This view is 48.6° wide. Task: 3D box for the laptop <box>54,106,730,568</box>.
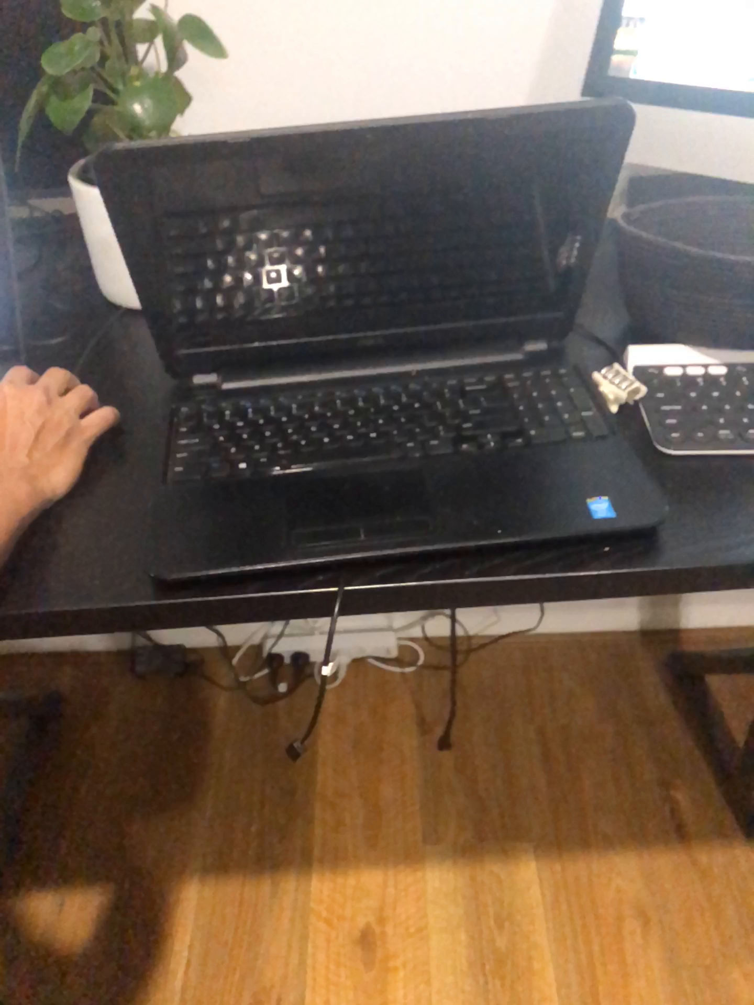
[{"bbox_3d":[-0.001,-0.121,0.591,0.366,0.210,0.207,-5,40,-2],"label":"laptop"}]
